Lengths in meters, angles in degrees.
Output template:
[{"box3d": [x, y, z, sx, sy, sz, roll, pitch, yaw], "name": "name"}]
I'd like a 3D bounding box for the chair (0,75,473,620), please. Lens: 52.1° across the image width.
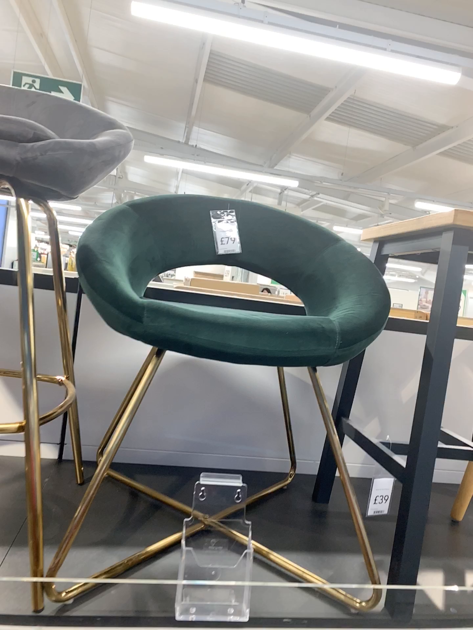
[{"box3d": [-0.010, 0.053, 1.007, 0.634, 0.700, 0.669, 7, 2, -8], "name": "chair"}]
